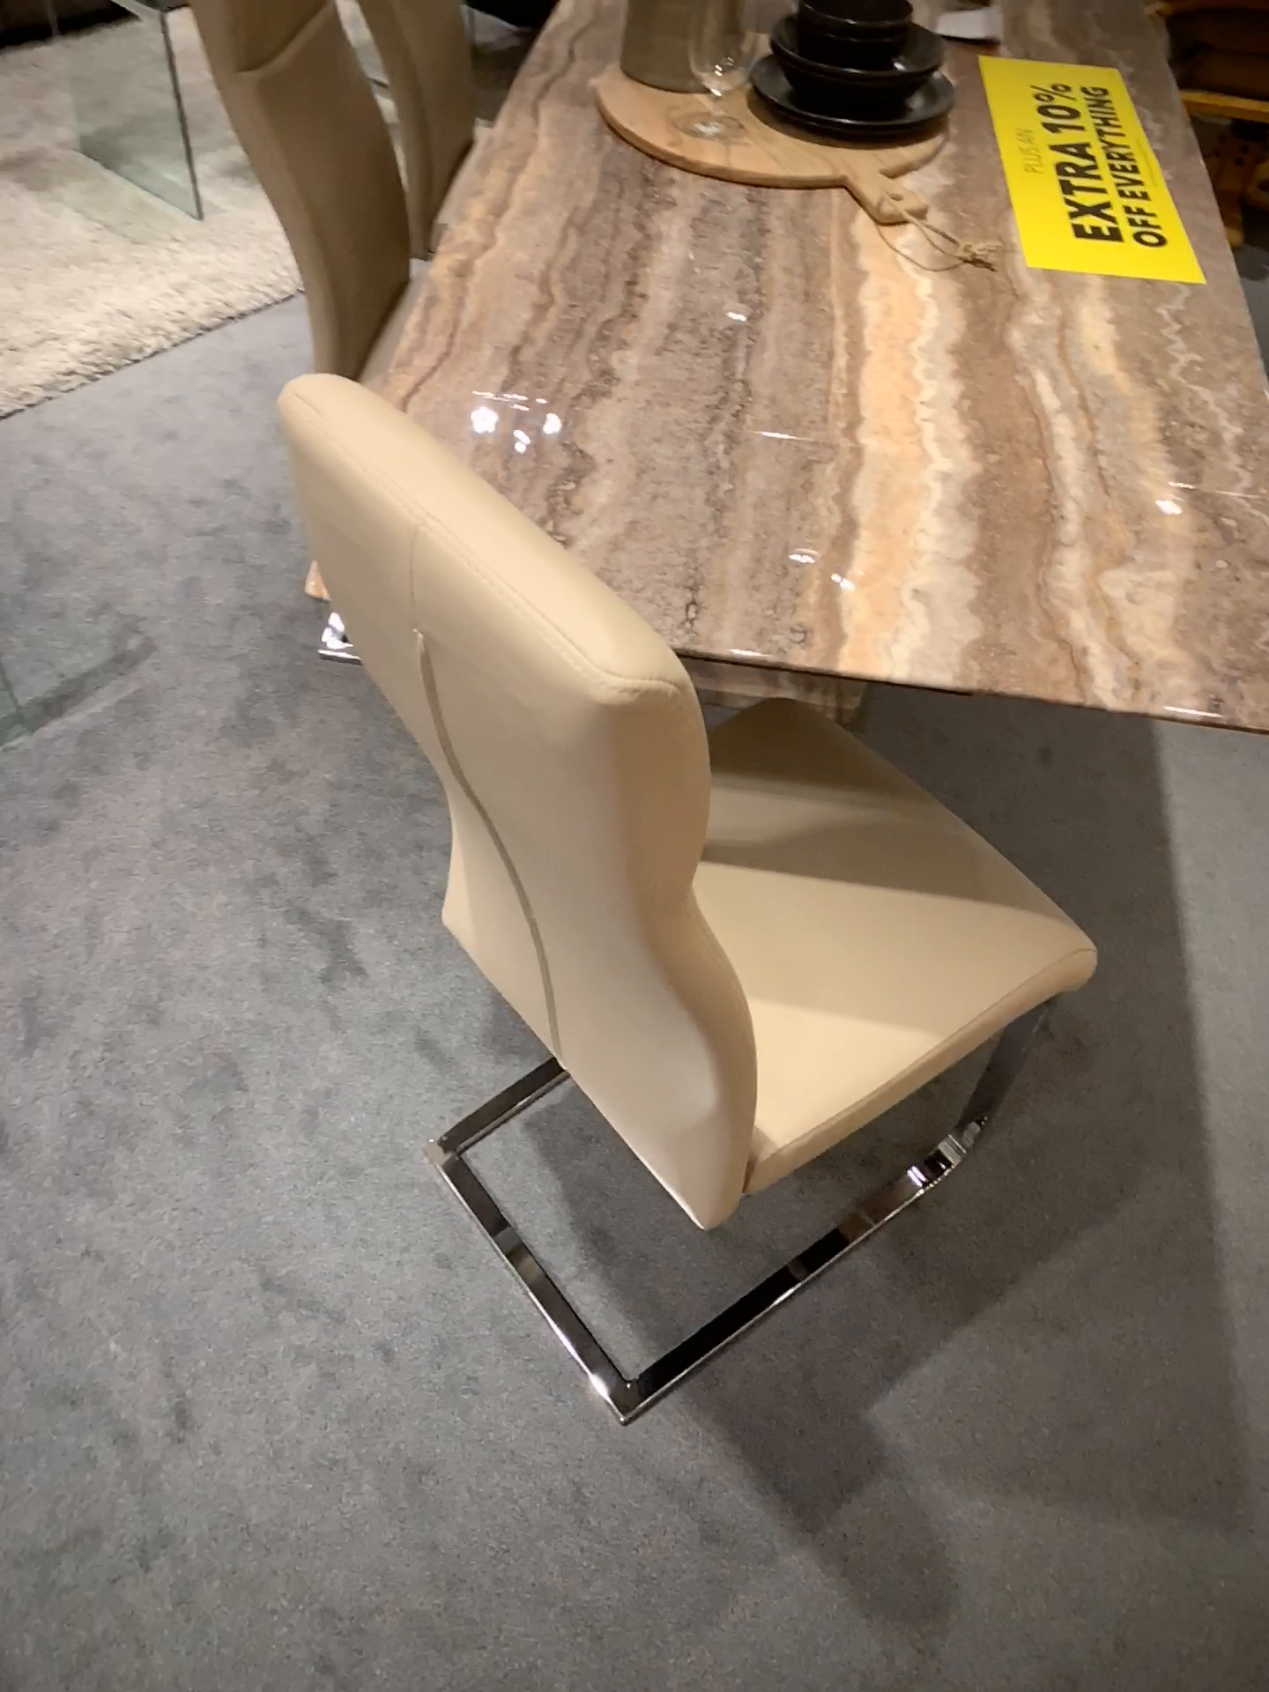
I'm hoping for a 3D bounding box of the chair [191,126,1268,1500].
[{"bbox_3d":[0.086,0.039,1.112,0.571,0.974,0.476,-29,57,-26],"label":"chair"}]
